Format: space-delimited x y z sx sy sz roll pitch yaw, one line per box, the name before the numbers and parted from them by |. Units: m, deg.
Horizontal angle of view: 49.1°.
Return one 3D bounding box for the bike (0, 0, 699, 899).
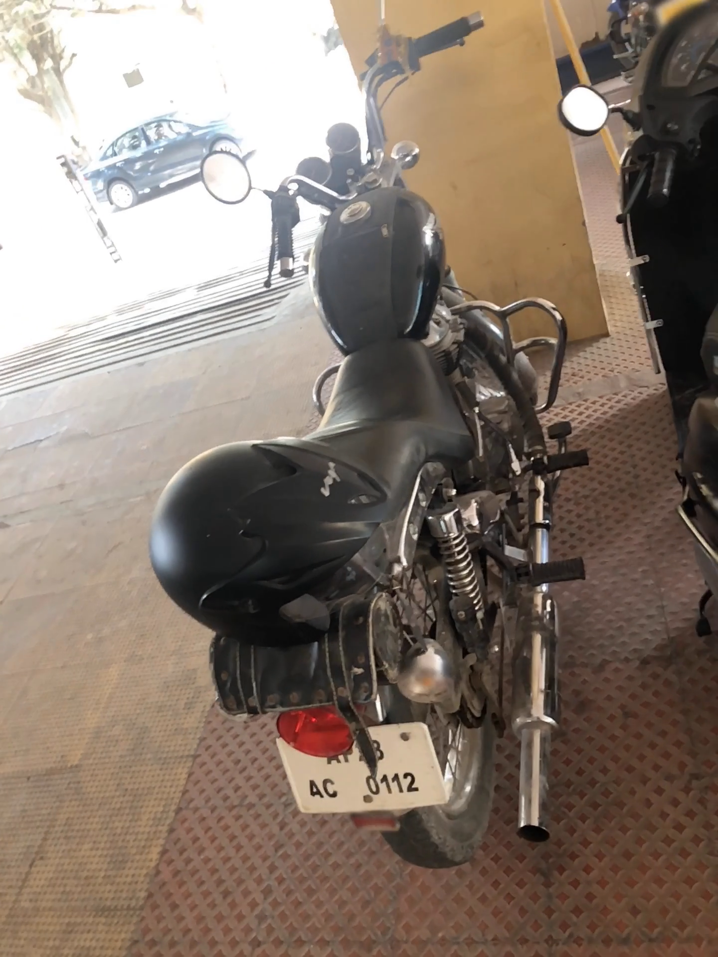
bike | -0.013 -0.251 1.848 0.783 1.177 1.820 -16 36 13
